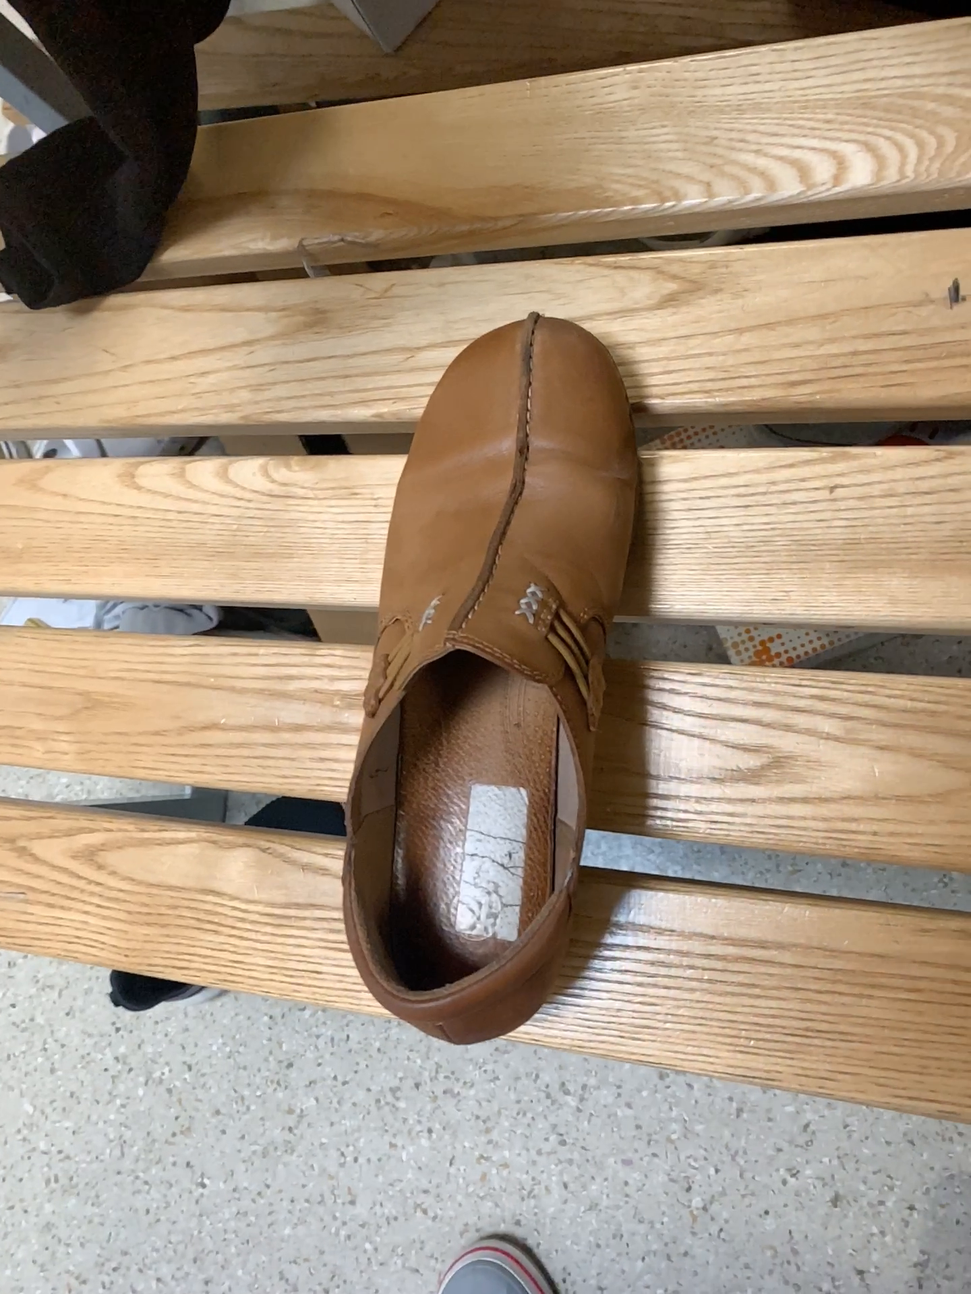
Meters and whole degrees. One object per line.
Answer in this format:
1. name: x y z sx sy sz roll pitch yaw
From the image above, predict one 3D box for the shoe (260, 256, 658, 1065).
1. shoe: -0.002 0.003 0.357 0.112 0.085 0.245 0 83 19
